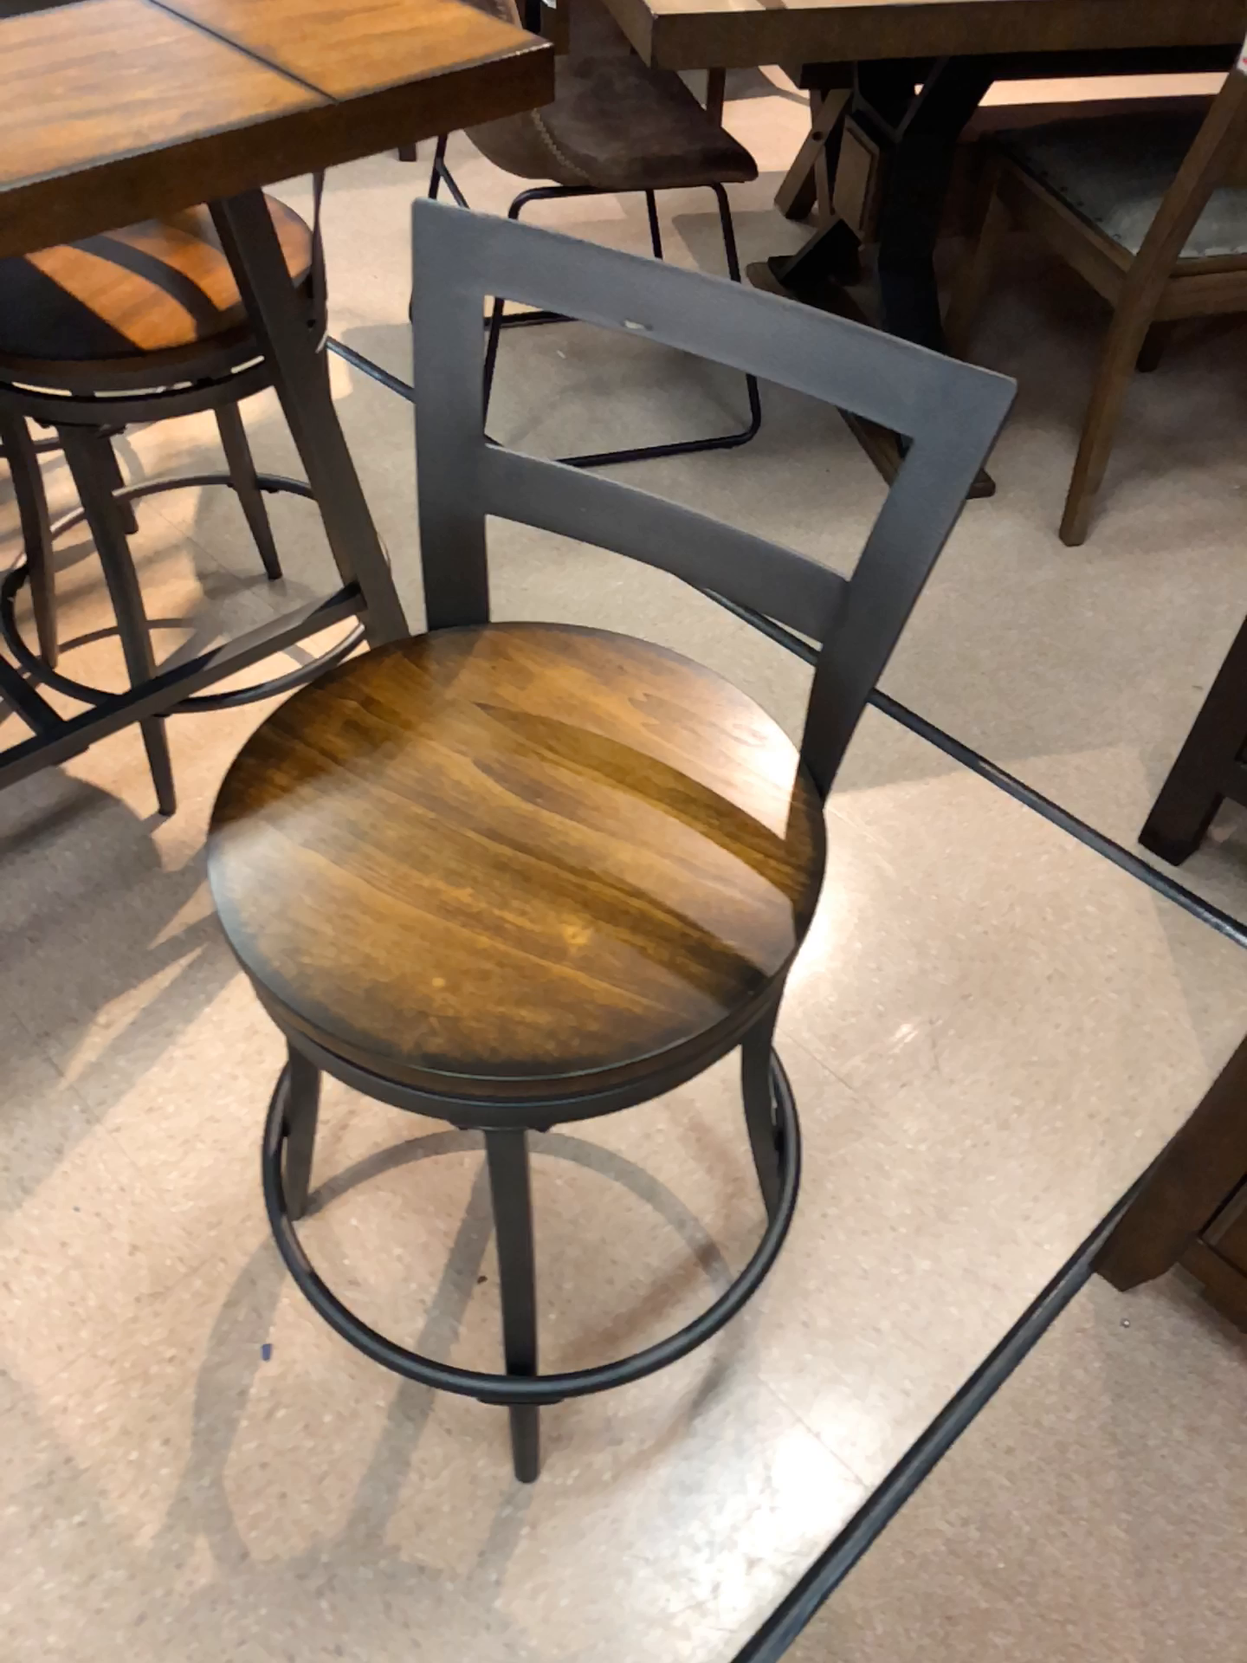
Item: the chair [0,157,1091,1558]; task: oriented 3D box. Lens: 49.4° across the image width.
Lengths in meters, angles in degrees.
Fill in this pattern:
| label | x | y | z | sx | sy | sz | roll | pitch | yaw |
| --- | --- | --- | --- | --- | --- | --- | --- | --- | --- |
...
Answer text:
| label | x | y | z | sx | sy | sz | roll | pitch | yaw |
| --- | --- | --- | --- | --- | --- | --- | --- | --- | --- |
| chair | -0.086 | 0.060 | 0.992 | 0.491 | 0.805 | 0.462 | 25 | 51 | 19 |
